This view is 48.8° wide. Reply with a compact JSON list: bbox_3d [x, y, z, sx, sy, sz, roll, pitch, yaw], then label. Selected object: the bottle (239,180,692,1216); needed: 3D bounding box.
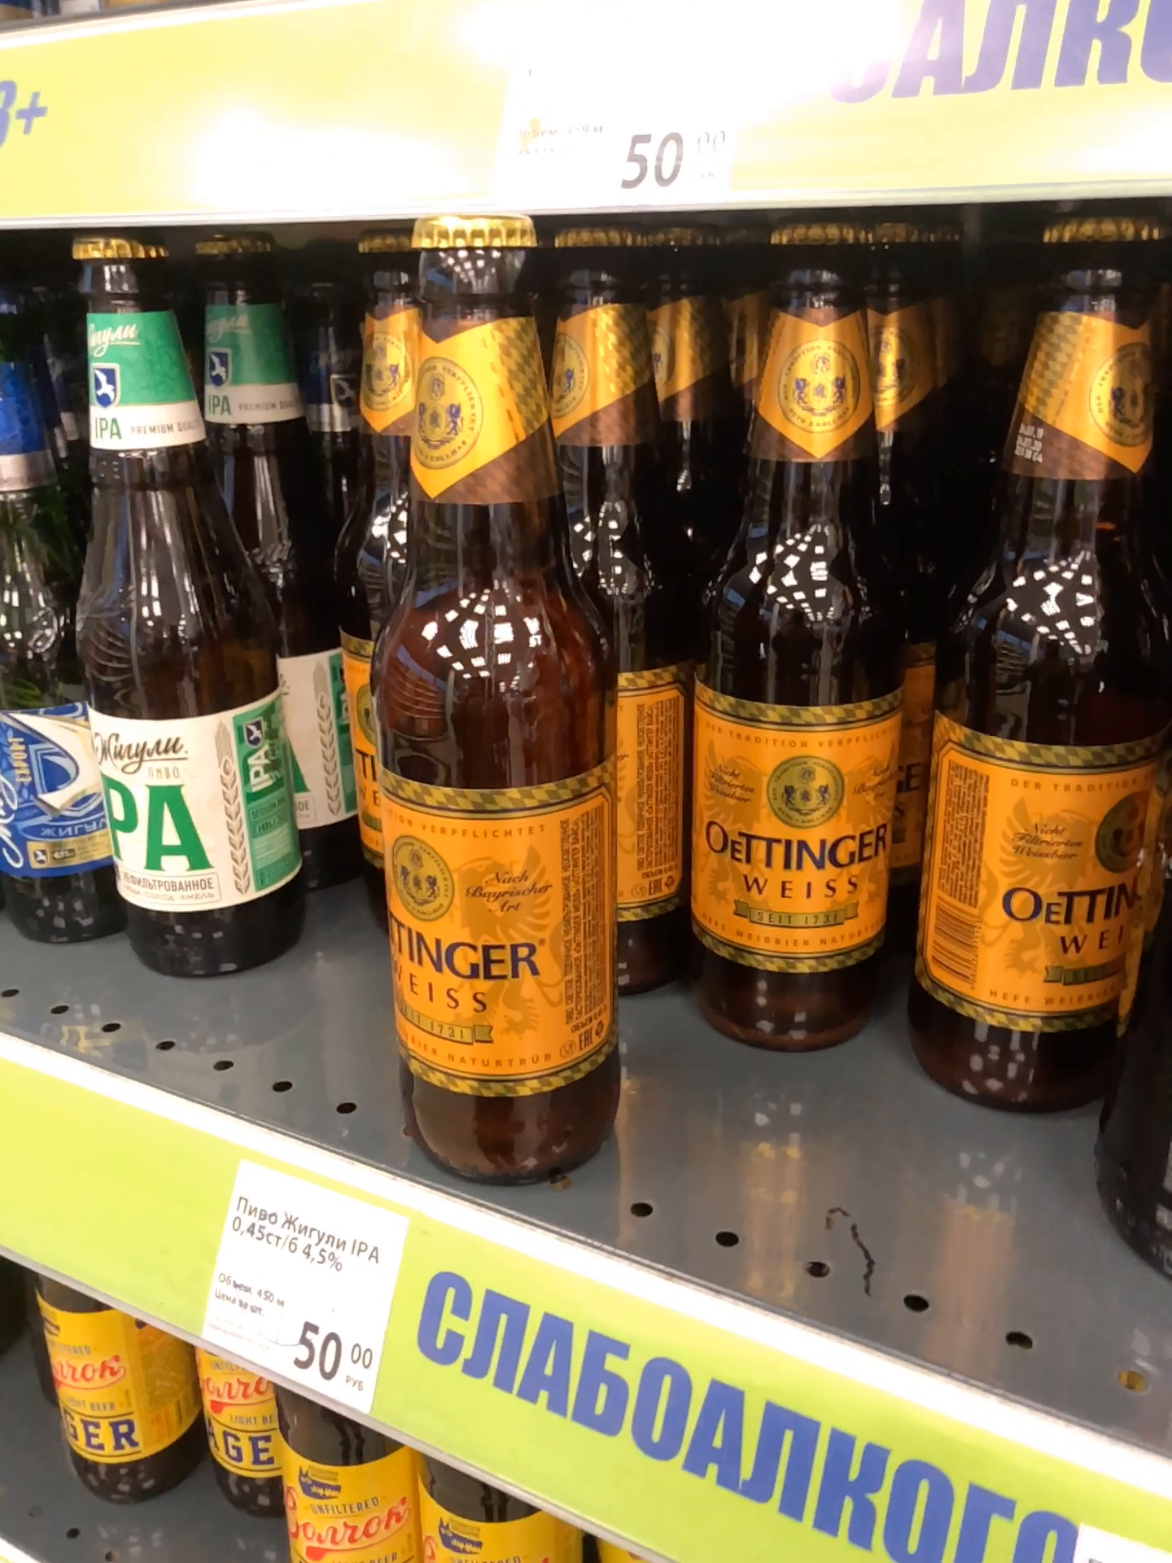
[{"bbox_3d":[-0.023,-0.019,0.332,0.072,0.243,0.070,-1,23,1],"label":"bottle"}]
